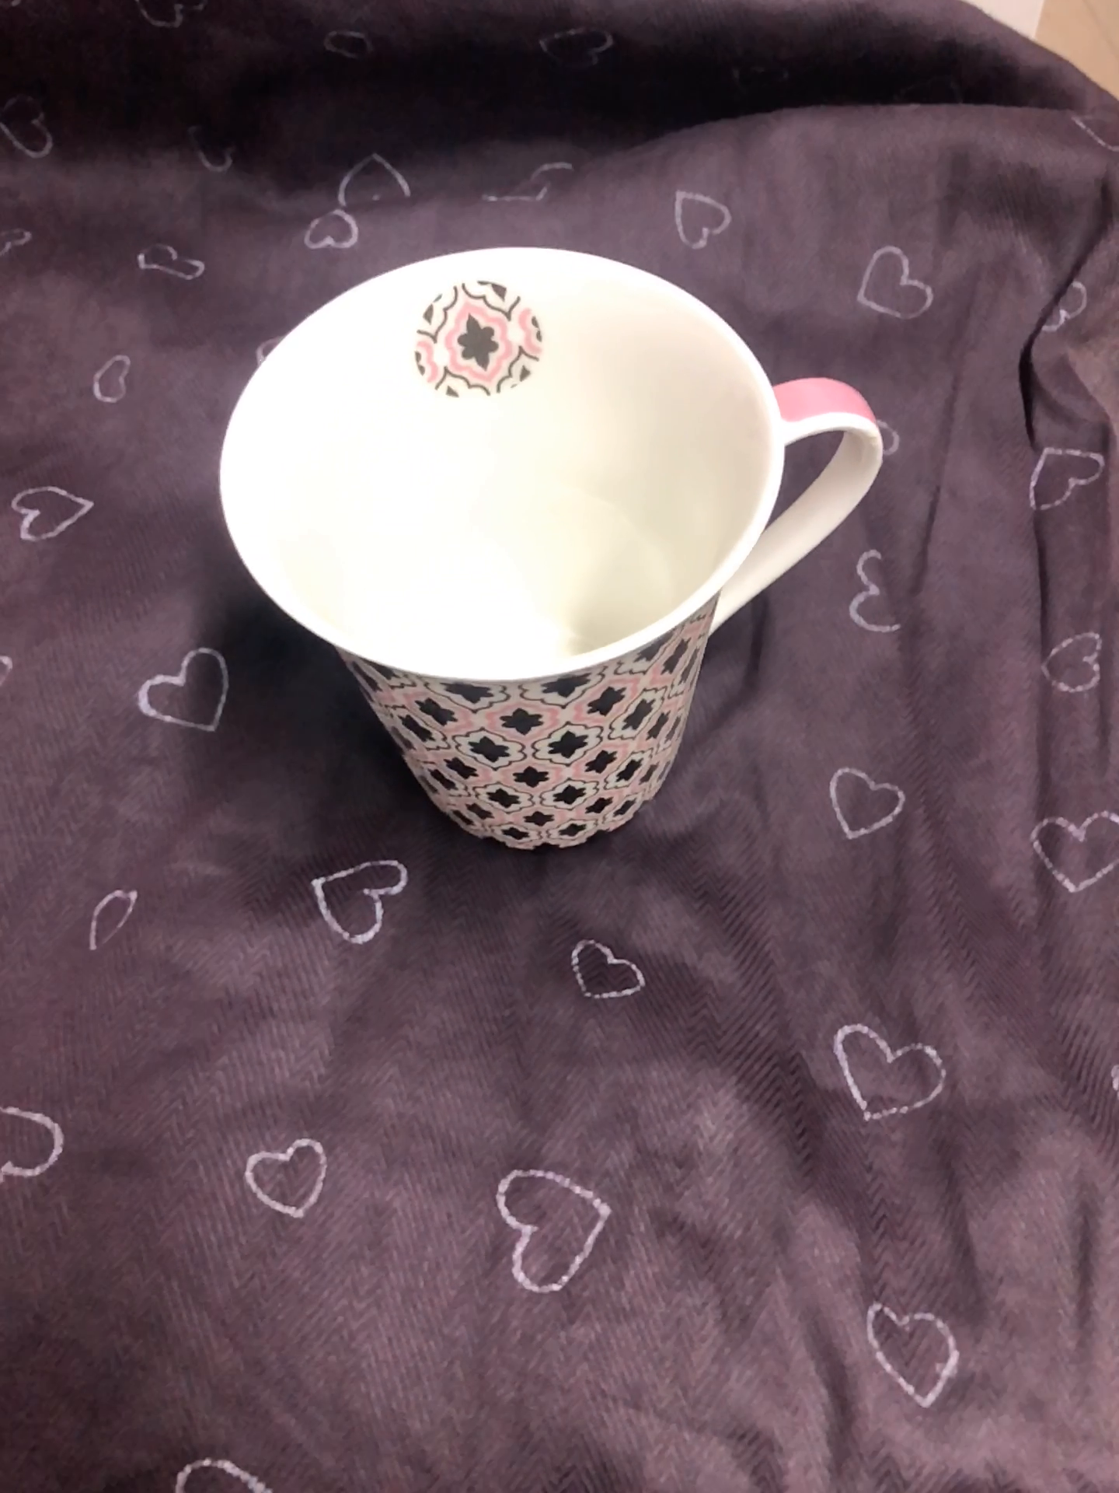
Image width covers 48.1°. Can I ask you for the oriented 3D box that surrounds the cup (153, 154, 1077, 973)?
[{"bbox_3d":[0.005,-0.033,0.231,0.120,0.080,0.090,-18,60,-10],"label":"cup"}]
